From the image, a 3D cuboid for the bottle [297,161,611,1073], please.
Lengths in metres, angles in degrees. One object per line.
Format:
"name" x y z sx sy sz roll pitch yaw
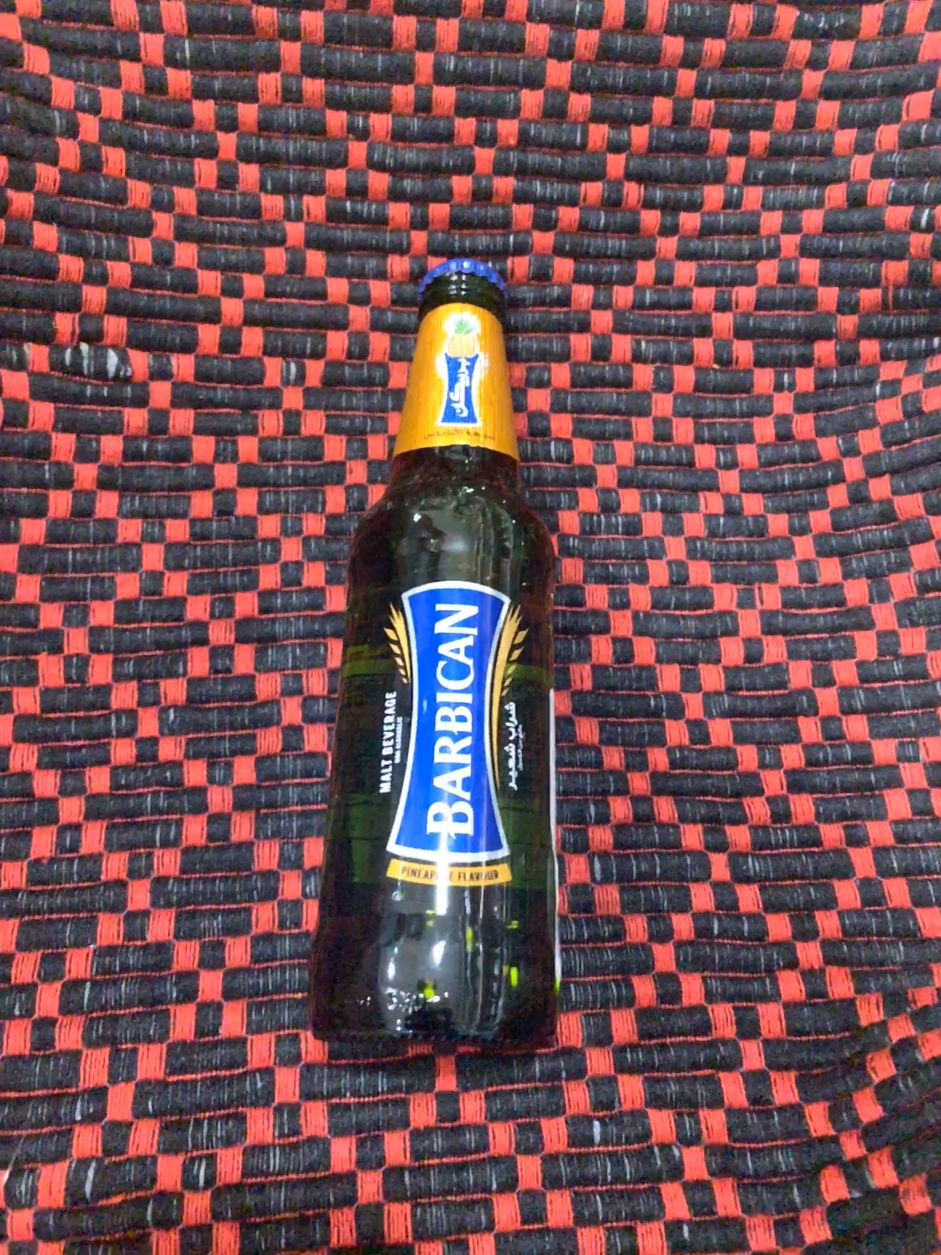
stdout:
"bottle" -0.005 -0.014 0.274 0.060 0.070 0.250 3 62 -5
